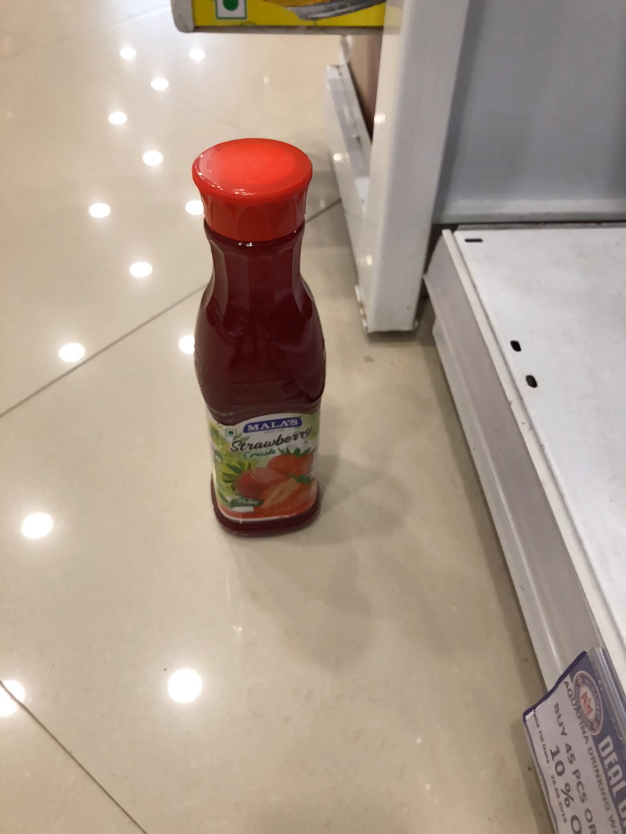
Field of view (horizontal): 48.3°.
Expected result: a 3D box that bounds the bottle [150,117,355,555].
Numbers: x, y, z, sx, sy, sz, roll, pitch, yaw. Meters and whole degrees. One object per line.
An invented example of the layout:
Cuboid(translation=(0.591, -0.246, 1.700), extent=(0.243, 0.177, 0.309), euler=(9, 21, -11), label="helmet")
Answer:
Cuboid(translation=(-0.034, -0.027, 0.390), extent=(0.080, 0.248, 0.070), euler=(-6, 46, -9), label="bottle")
